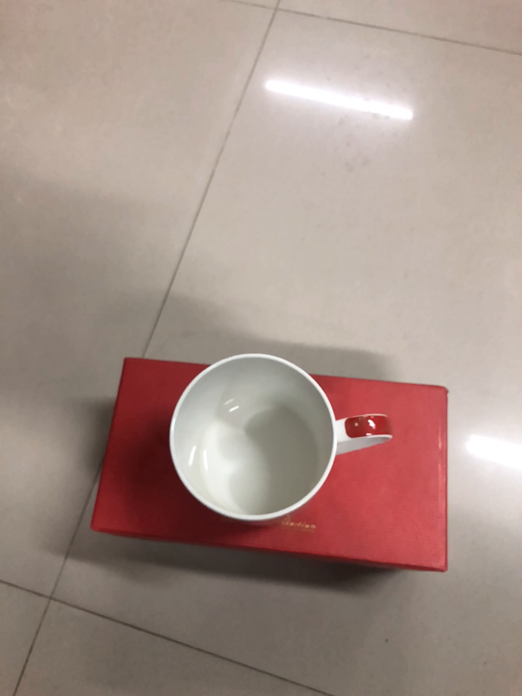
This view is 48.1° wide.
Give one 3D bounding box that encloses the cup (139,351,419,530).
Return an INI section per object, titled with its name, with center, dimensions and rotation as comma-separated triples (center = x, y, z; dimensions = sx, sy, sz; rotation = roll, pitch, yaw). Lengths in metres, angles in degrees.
[cup]
center = 0.009, 0.058, 0.332
dimensions = 0.130, 0.100, 0.080
rotation = -2, 70, 2
